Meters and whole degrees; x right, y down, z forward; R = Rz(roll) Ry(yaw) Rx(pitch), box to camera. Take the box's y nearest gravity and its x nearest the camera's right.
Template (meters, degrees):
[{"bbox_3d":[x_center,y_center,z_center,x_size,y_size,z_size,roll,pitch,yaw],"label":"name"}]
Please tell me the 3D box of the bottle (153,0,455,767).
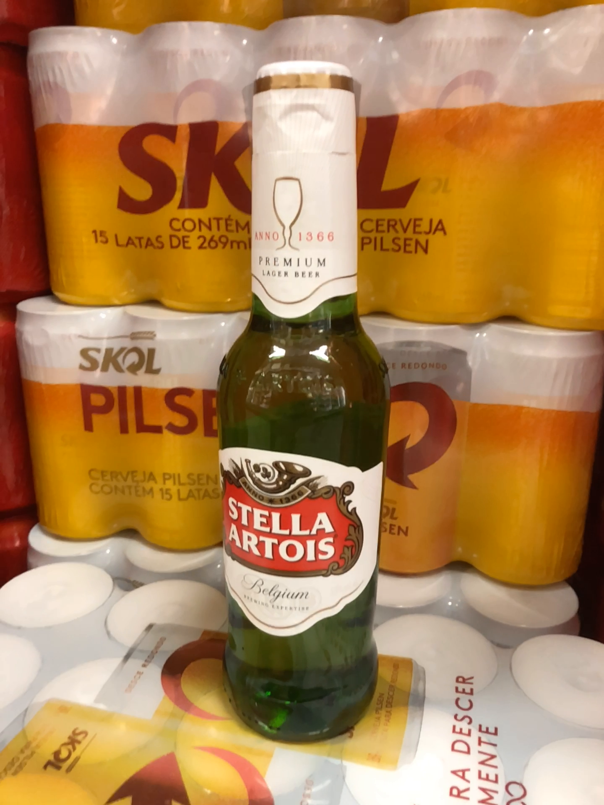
[{"bbox_3d":[0.007,0.002,0.217,0.070,0.219,0.060,3,20,12],"label":"bottle"}]
